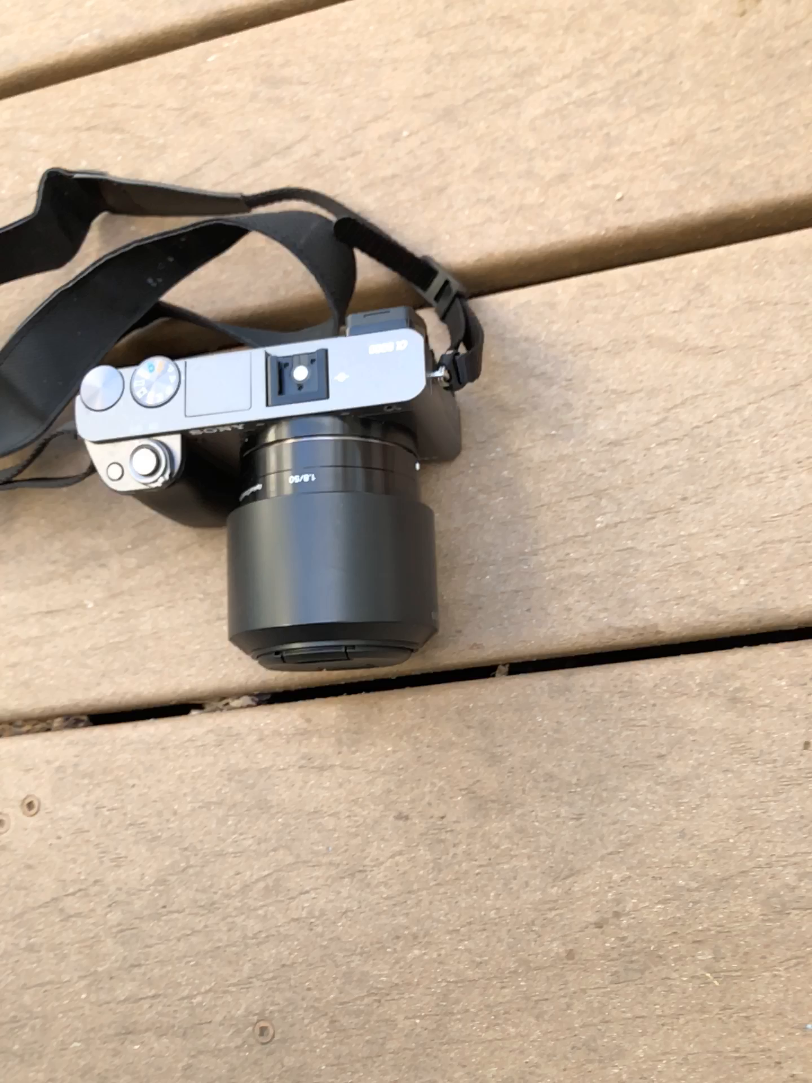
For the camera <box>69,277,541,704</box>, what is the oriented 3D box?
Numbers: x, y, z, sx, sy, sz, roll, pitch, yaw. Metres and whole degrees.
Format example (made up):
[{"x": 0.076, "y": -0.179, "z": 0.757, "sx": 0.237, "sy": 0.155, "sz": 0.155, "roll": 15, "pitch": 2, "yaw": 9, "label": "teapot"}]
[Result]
[{"x": -0.029, "y": -0.009, "z": 0.292, "sx": 0.130, "sy": 0.070, "sz": 0.110, "roll": -6, "pitch": 77, "yaw": 11, "label": "camera"}]
